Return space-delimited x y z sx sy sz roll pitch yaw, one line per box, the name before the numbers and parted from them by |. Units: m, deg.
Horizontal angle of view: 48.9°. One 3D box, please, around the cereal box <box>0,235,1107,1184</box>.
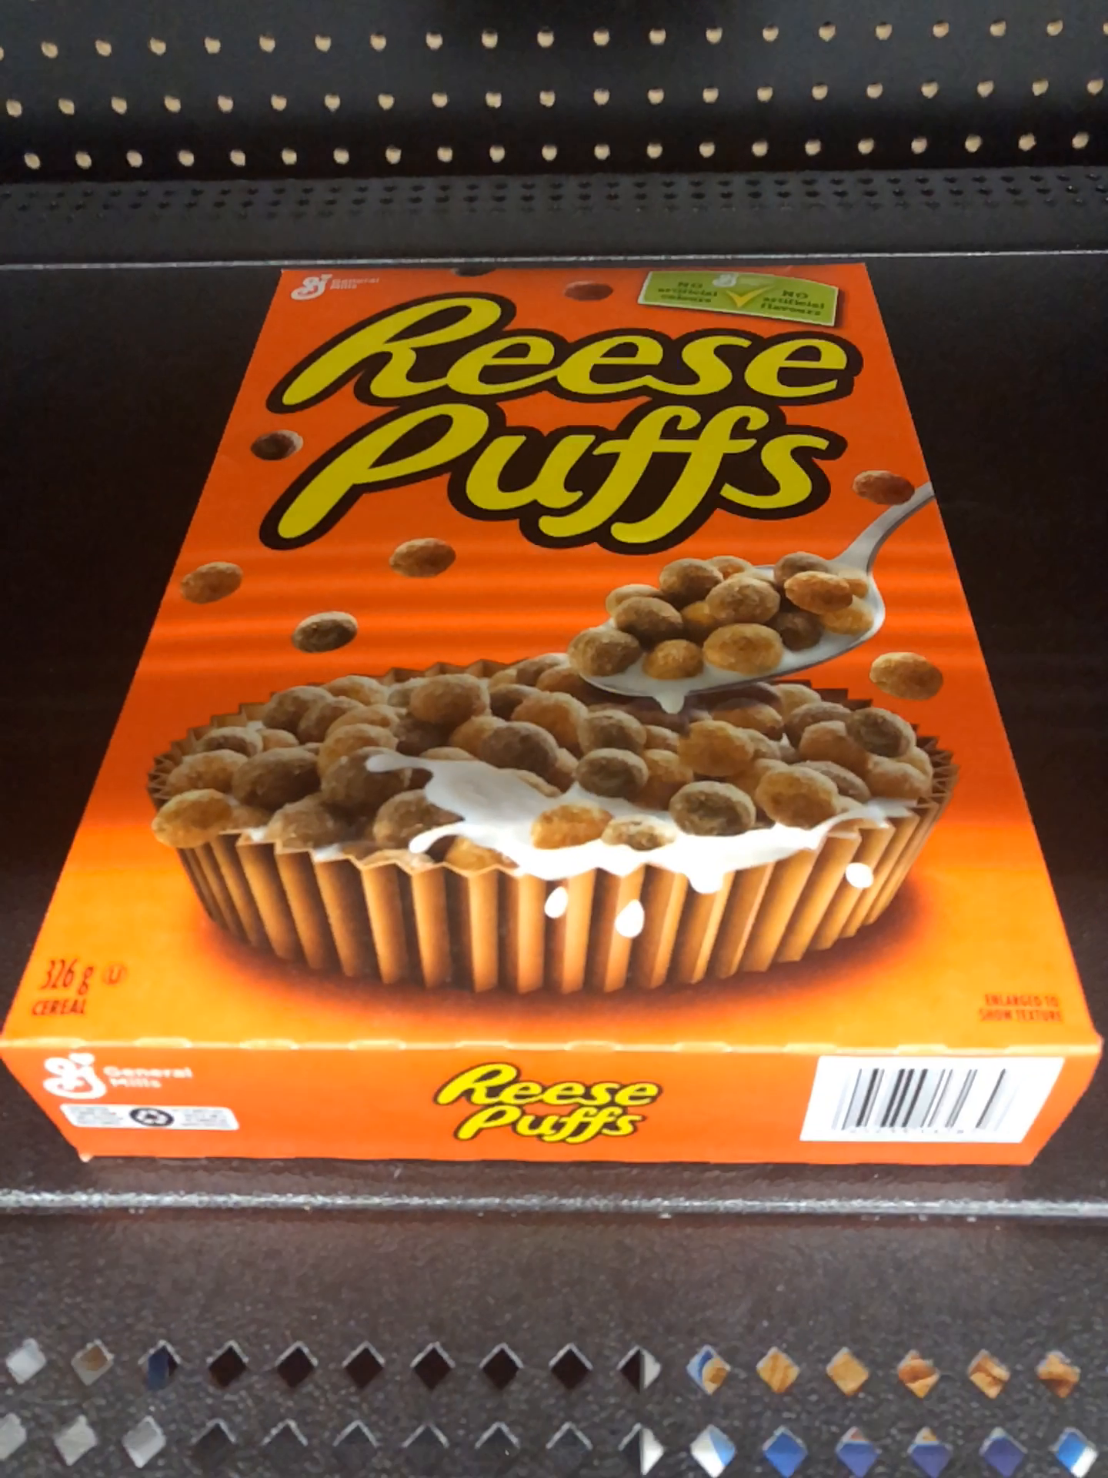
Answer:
cereal box | 0.001 -0.039 0.320 0.200 0.050 0.292 0 48 2
